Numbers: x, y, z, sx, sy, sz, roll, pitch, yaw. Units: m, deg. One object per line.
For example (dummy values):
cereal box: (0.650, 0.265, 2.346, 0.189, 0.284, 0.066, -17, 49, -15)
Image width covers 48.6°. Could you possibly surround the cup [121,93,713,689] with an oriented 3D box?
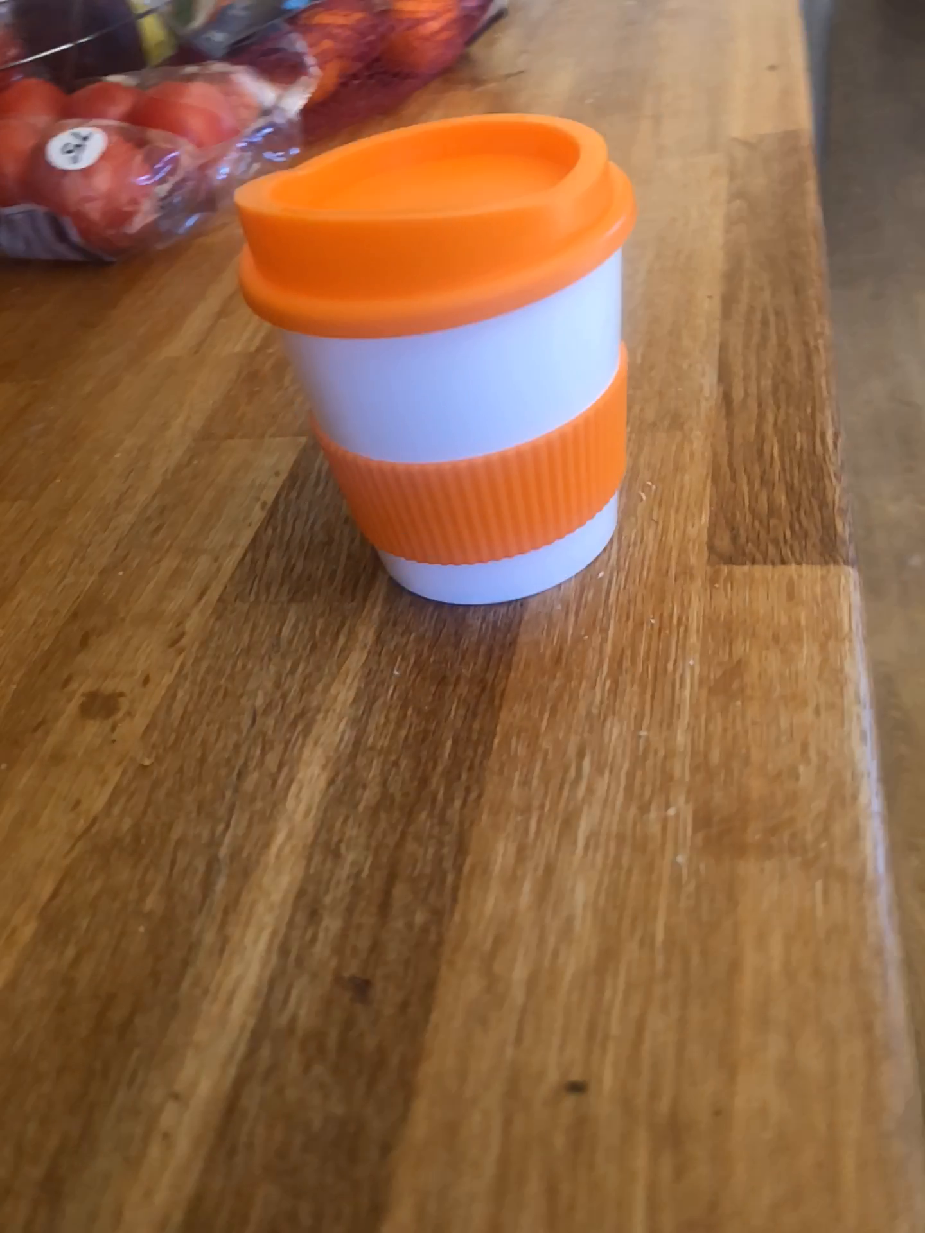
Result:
cup: (-0.001, -0.056, 0.233, 0.081, 0.089, 0.089, 19, 50, 33)
